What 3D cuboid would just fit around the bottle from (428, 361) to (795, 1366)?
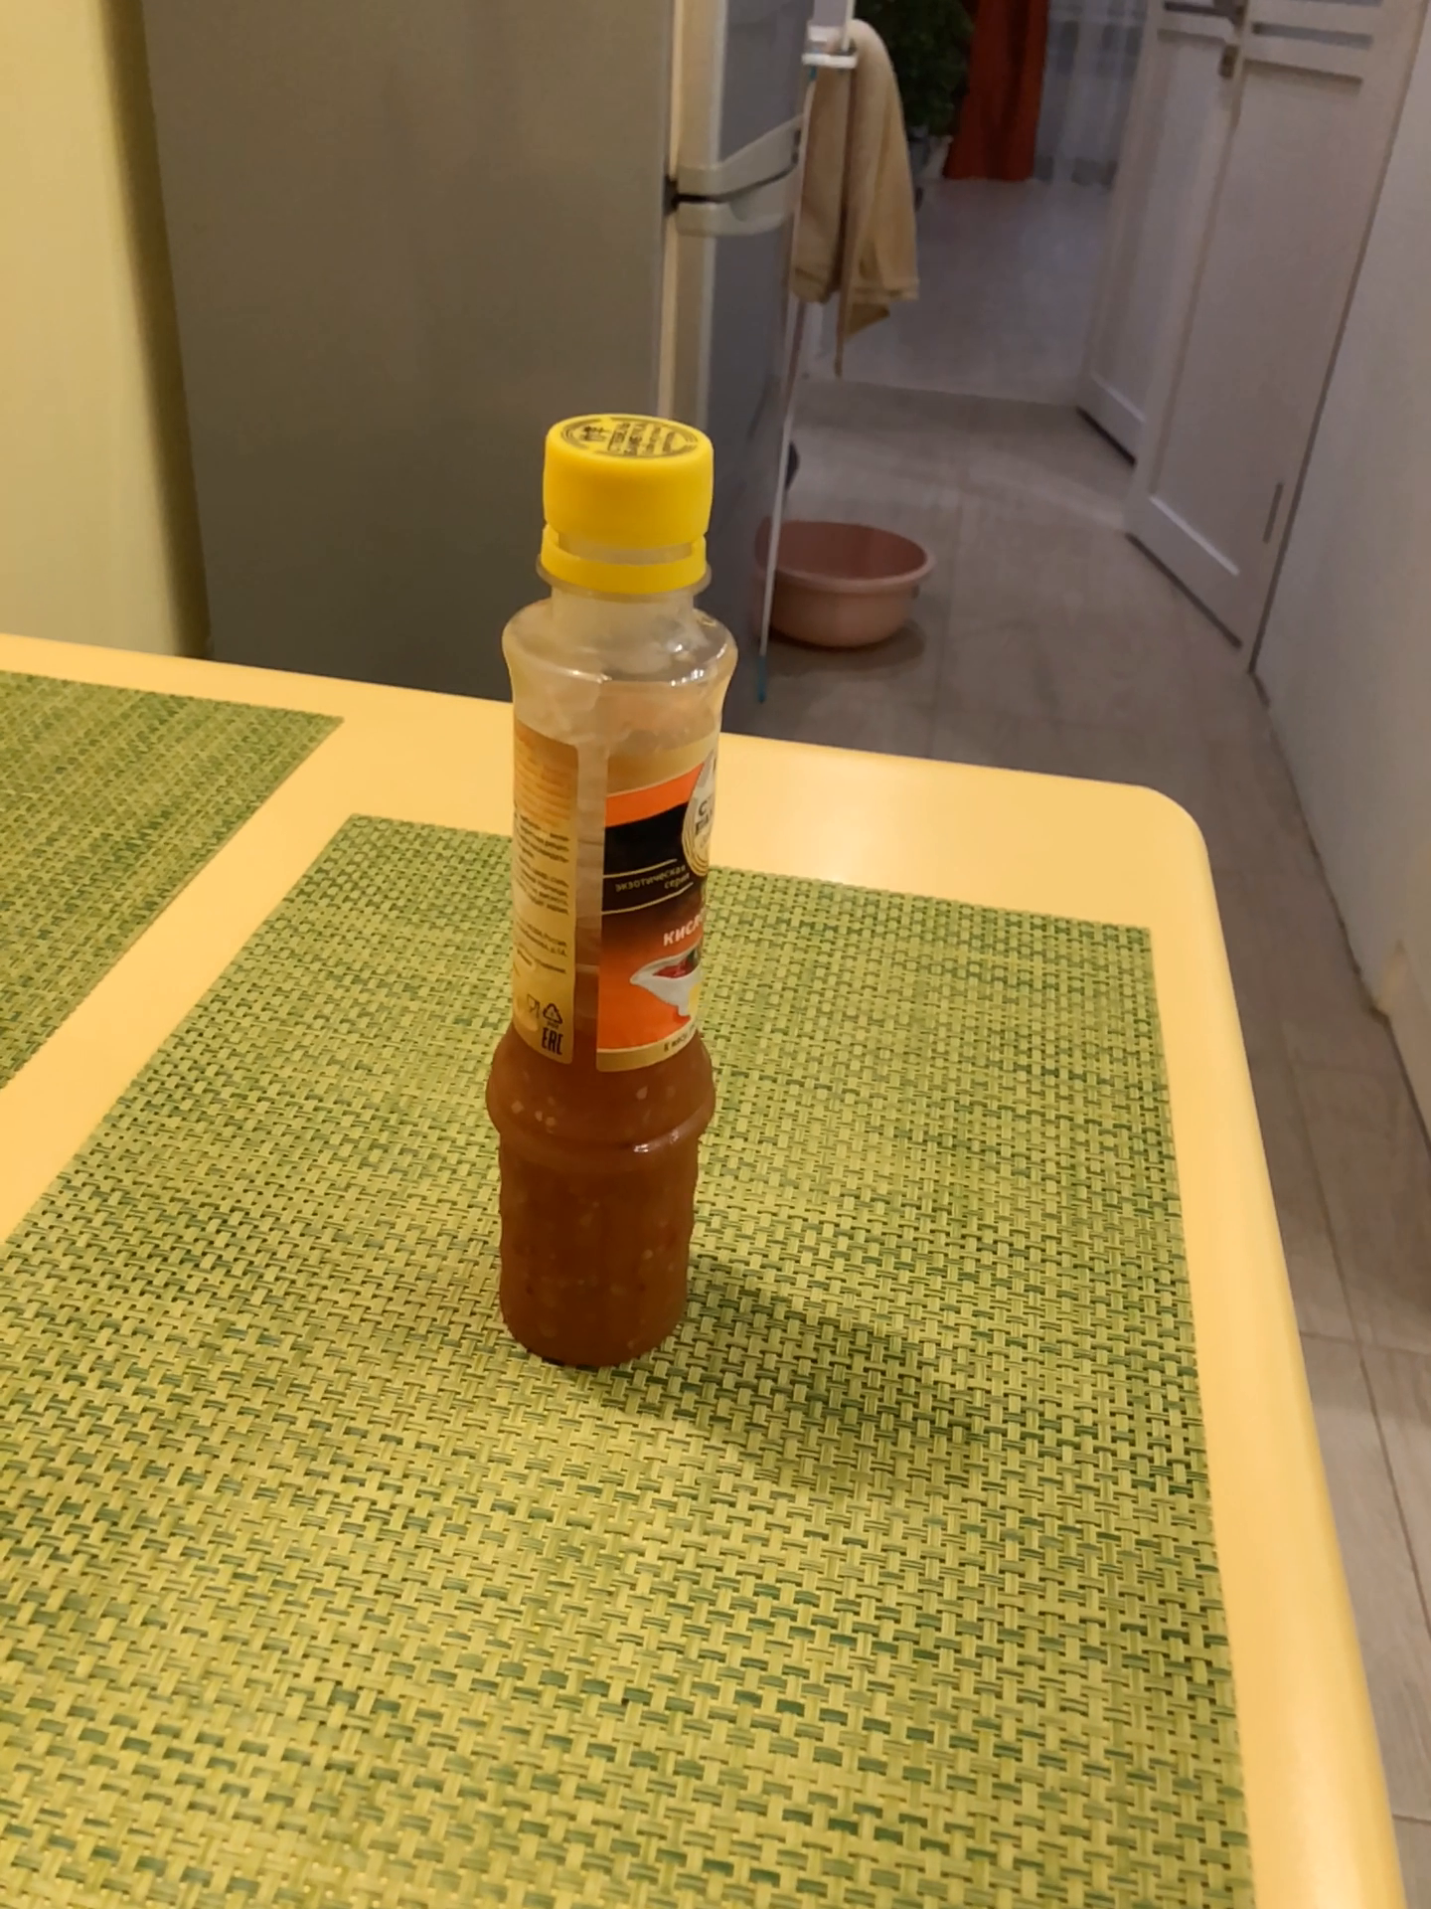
[{"bbox_3d":[-0.025,-0.010,0.338,0.060,0.208,0.060,4,32,-2],"label":"bottle"}]
